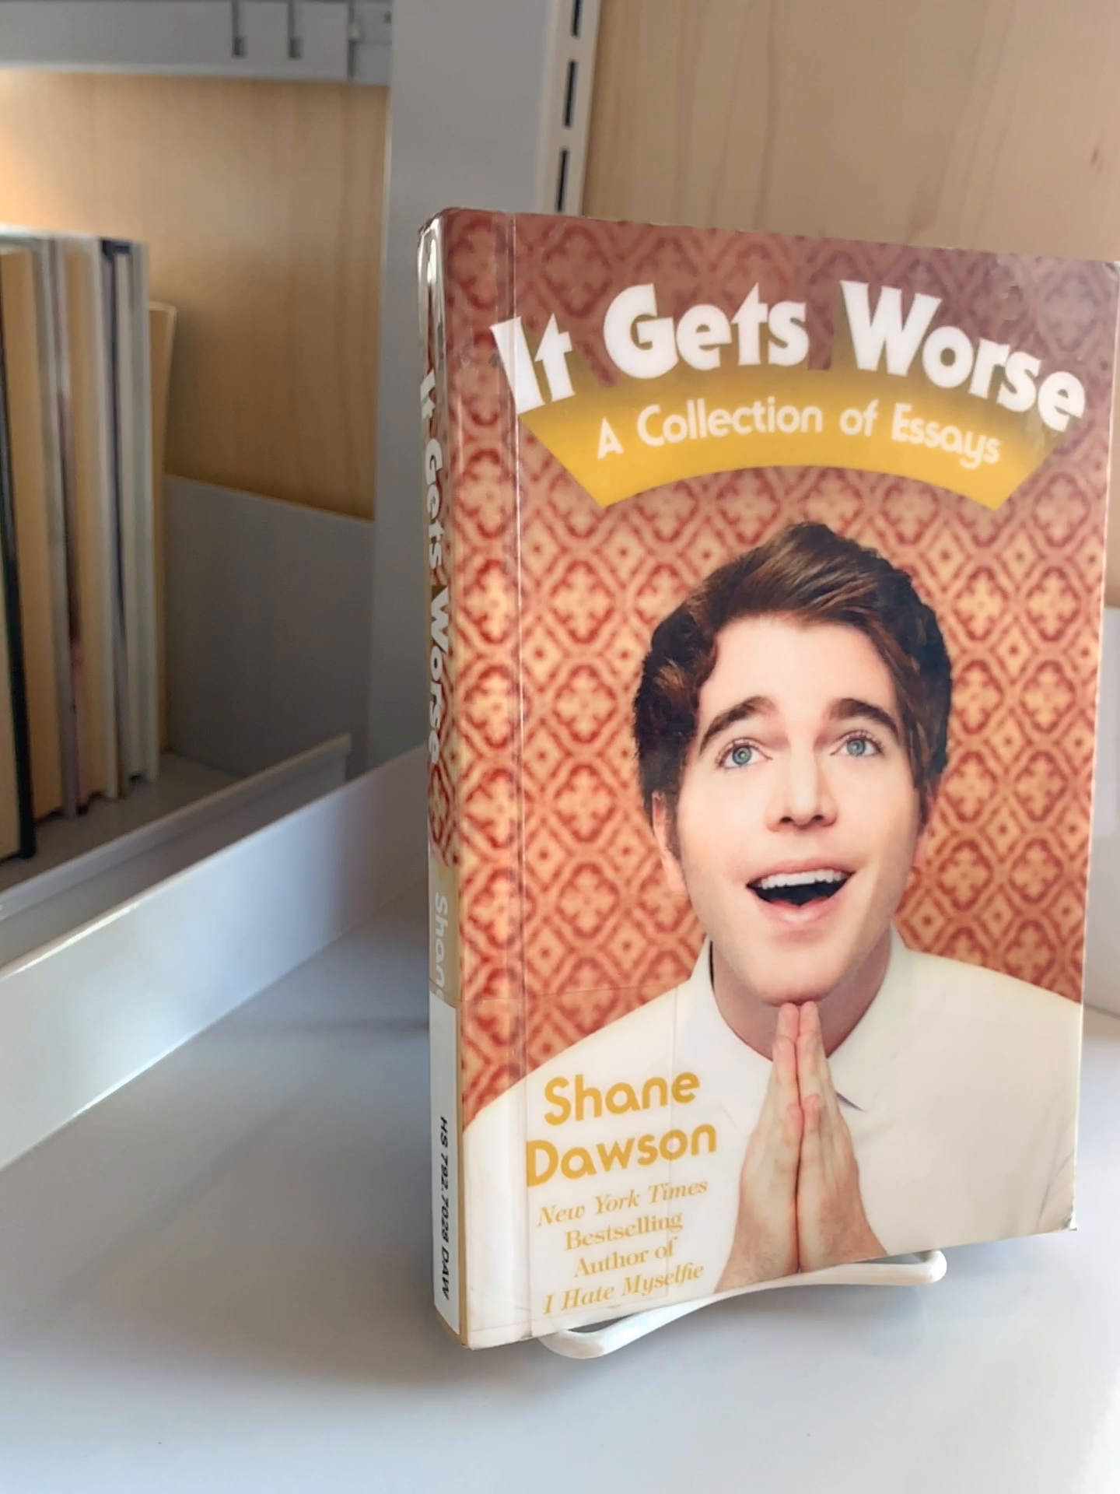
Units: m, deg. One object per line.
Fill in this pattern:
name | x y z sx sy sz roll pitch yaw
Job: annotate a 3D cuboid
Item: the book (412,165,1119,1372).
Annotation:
book | 0.047 0.006 0.241 0.149 0.210 0.030 -2 8 -20
